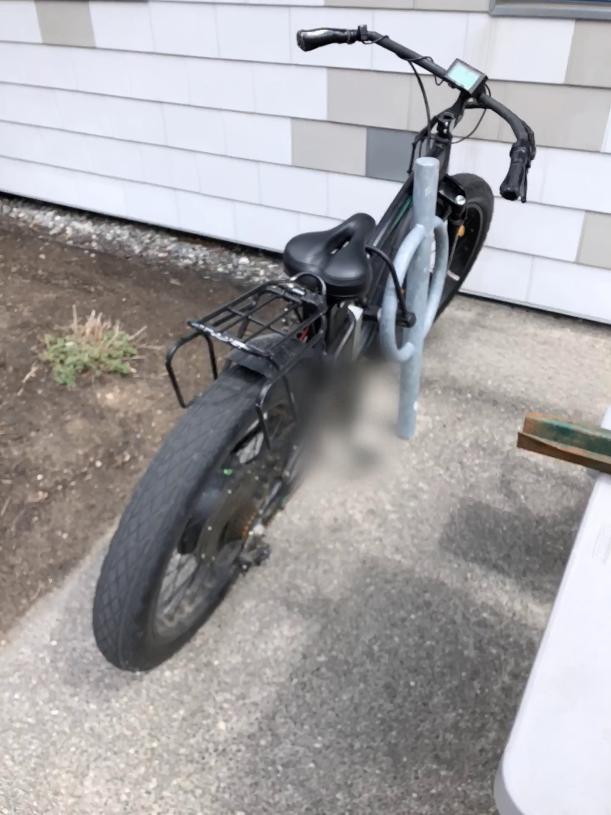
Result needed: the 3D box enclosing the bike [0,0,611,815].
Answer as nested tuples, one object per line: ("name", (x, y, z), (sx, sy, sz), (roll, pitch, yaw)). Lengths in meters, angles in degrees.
("bike", (0.242, -0.331, 1.853), (0.878, 1.170, 2.123), (18, 43, 25))
